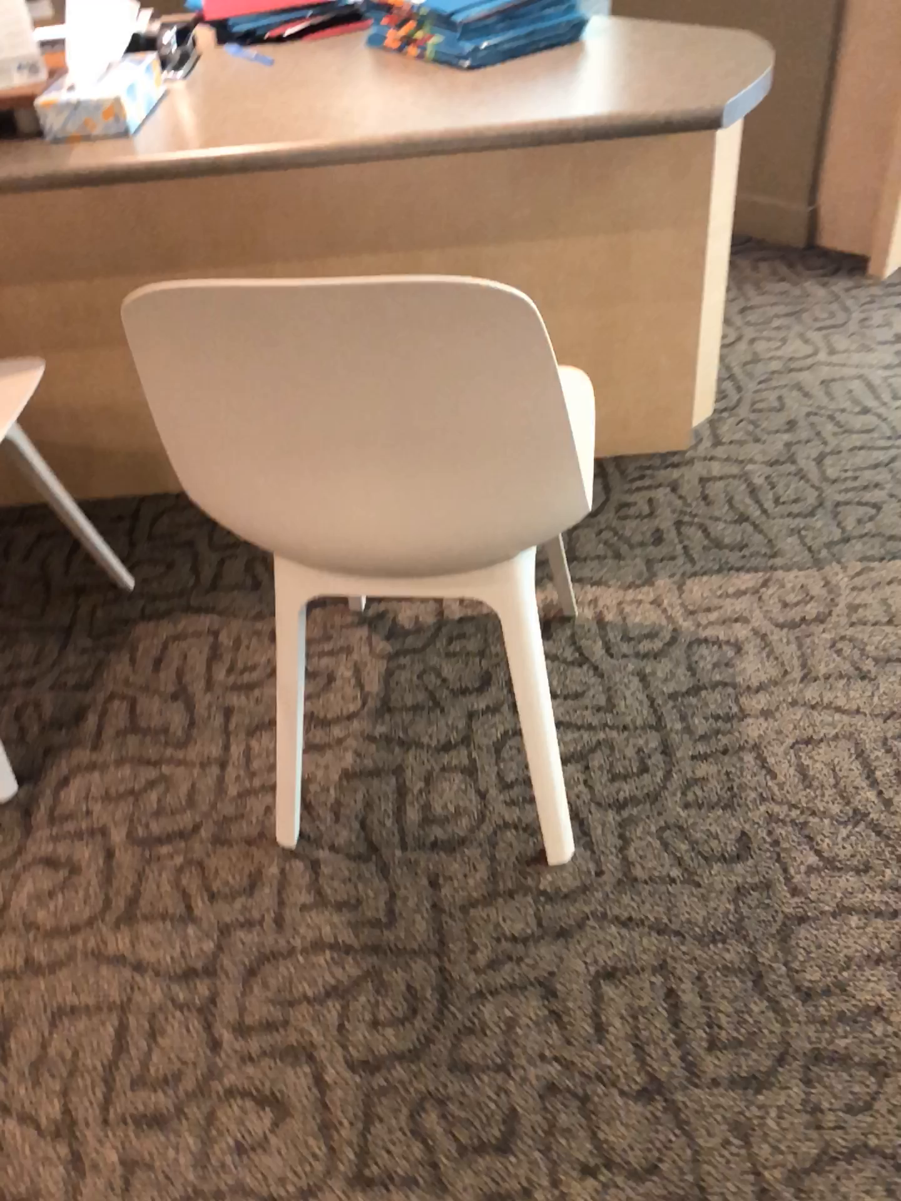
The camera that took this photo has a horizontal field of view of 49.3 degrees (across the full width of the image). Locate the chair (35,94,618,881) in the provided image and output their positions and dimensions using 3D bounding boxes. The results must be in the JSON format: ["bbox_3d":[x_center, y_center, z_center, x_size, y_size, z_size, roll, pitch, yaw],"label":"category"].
[{"bbox_3d":[-0.043,-0.126,1.256,0.480,0.794,0.554,2,41,9],"label":"chair"}]
